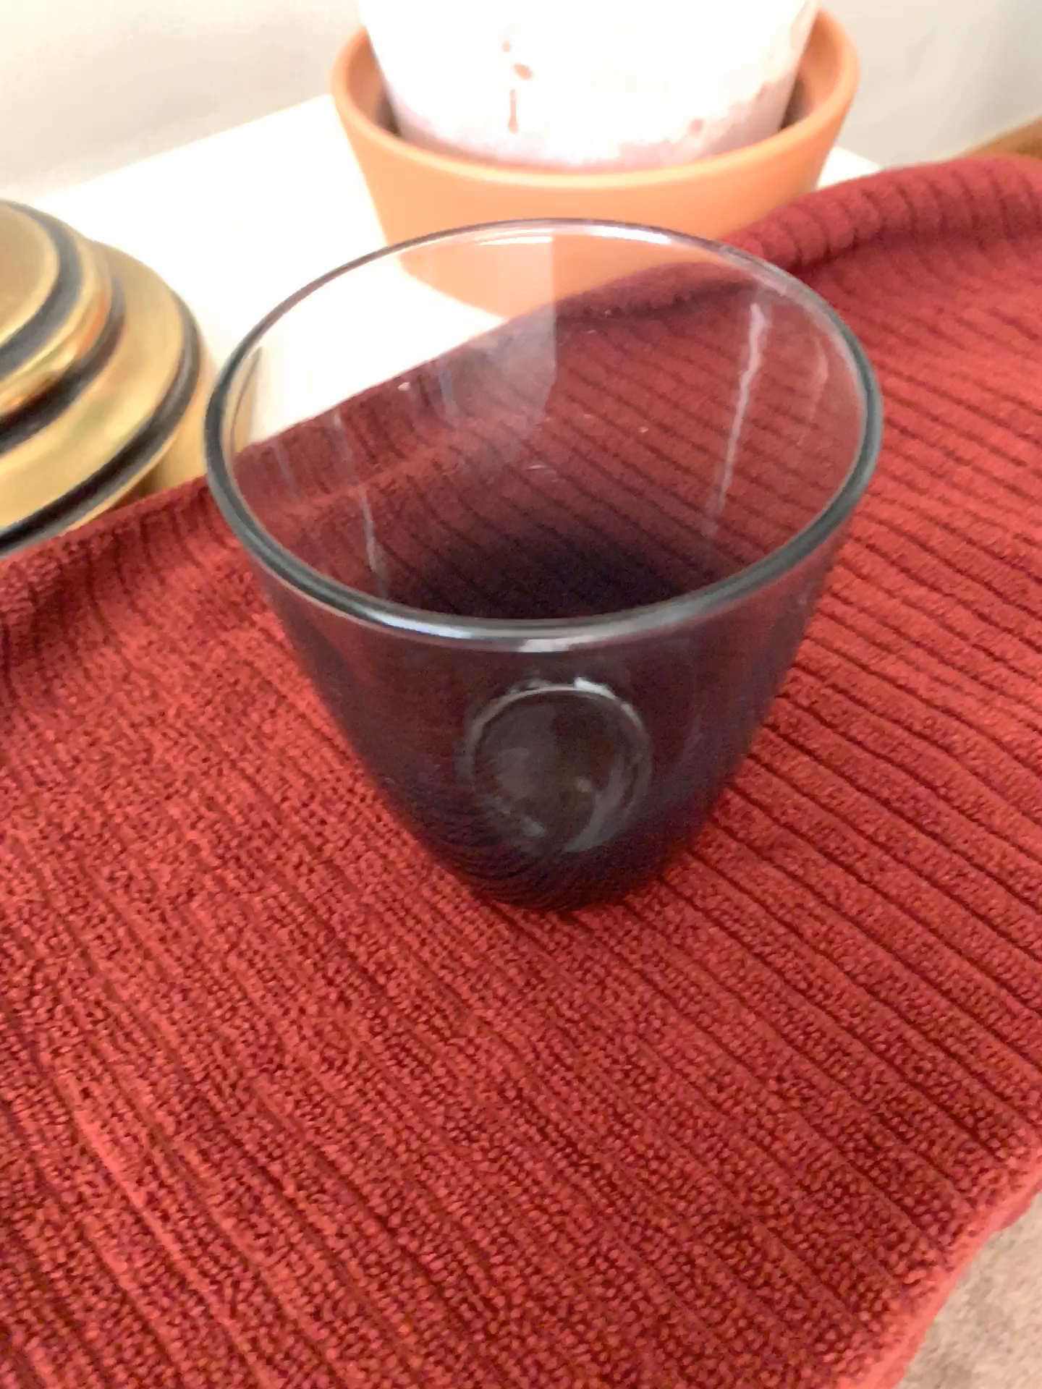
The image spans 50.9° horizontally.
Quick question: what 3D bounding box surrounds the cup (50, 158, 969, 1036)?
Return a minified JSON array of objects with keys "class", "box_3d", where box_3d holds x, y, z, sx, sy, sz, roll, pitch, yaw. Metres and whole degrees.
[{"class":"cup","box_3d":[0.005,-0.019,0.161,0.084,0.070,0.087,-2,49,2]}]
